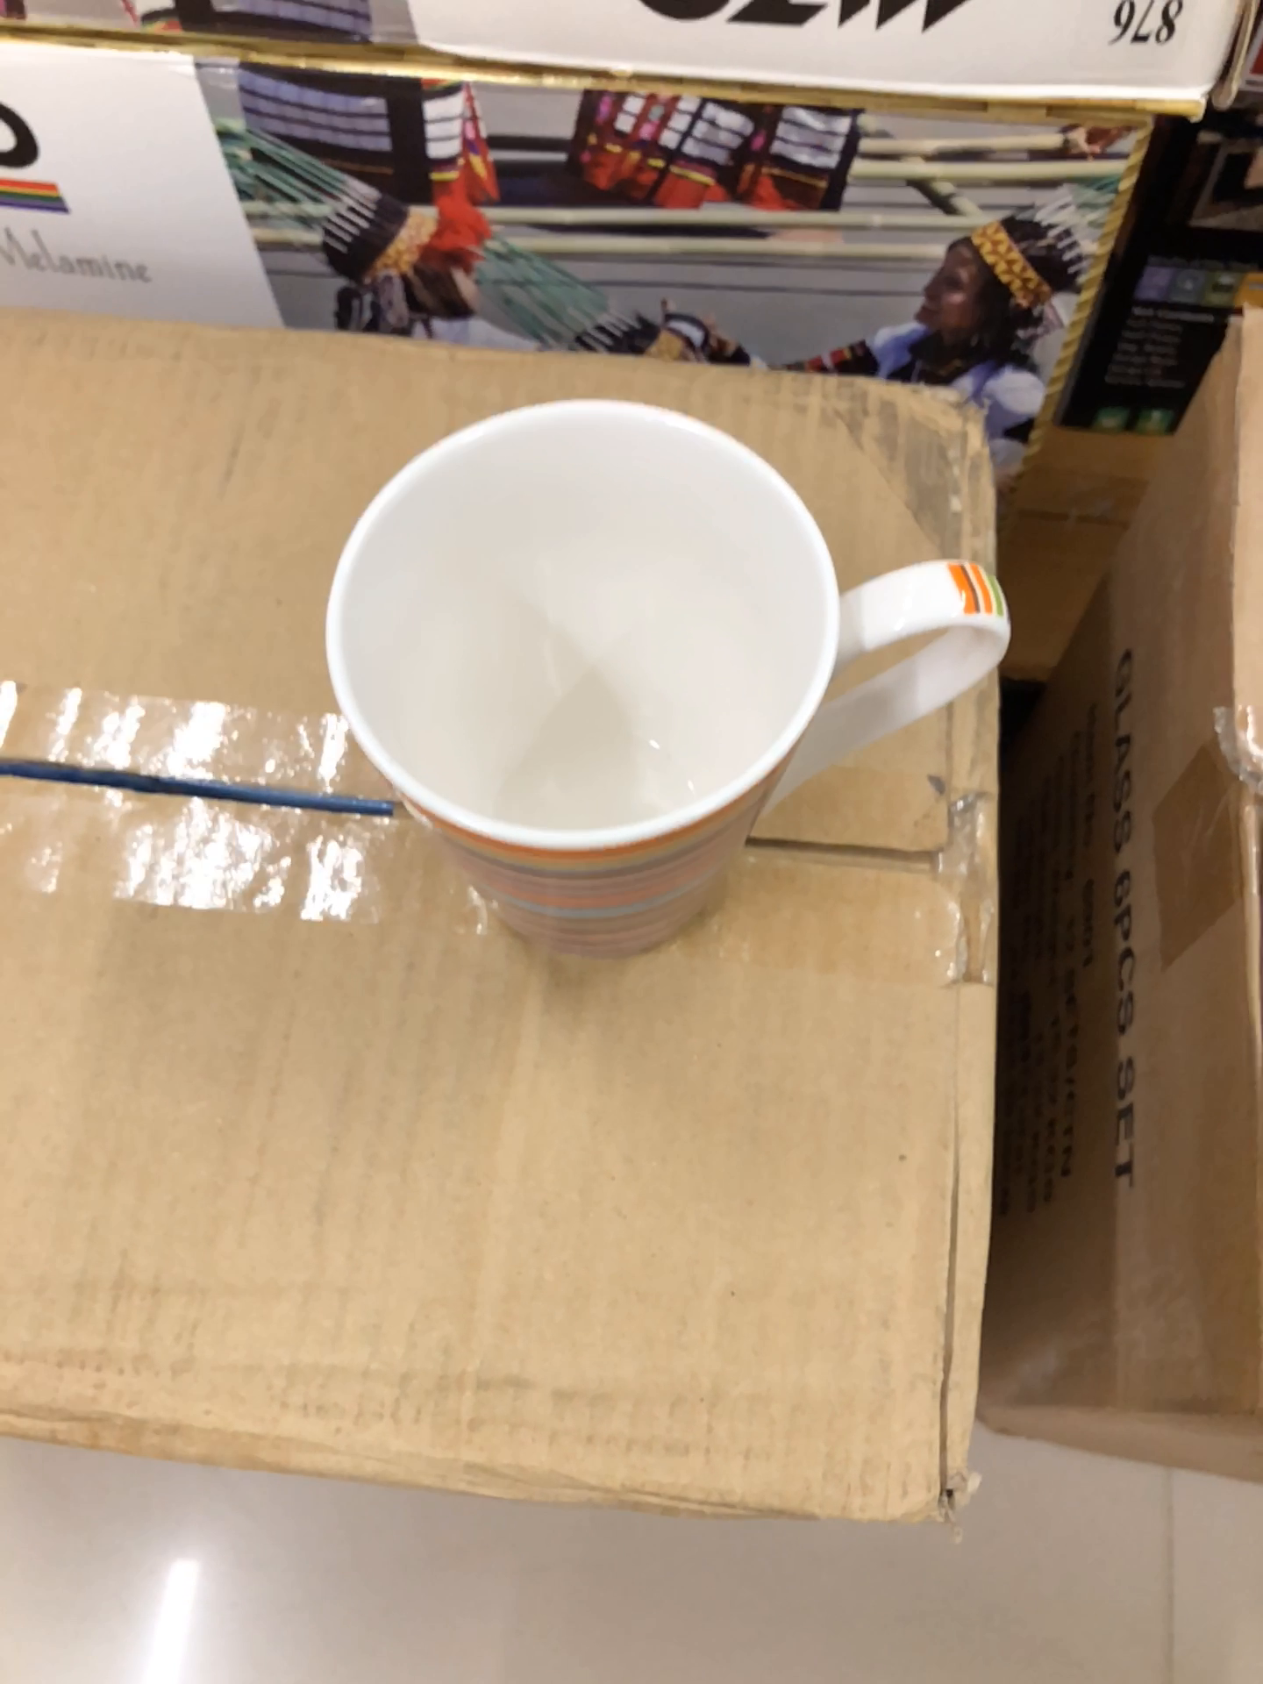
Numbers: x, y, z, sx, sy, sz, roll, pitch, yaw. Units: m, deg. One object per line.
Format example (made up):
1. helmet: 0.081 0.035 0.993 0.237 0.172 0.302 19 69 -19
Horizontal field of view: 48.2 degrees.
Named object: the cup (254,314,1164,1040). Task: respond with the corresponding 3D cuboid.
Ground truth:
1. cup: 0.009 -0.025 0.265 0.130 0.090 0.080 -11 67 -4
